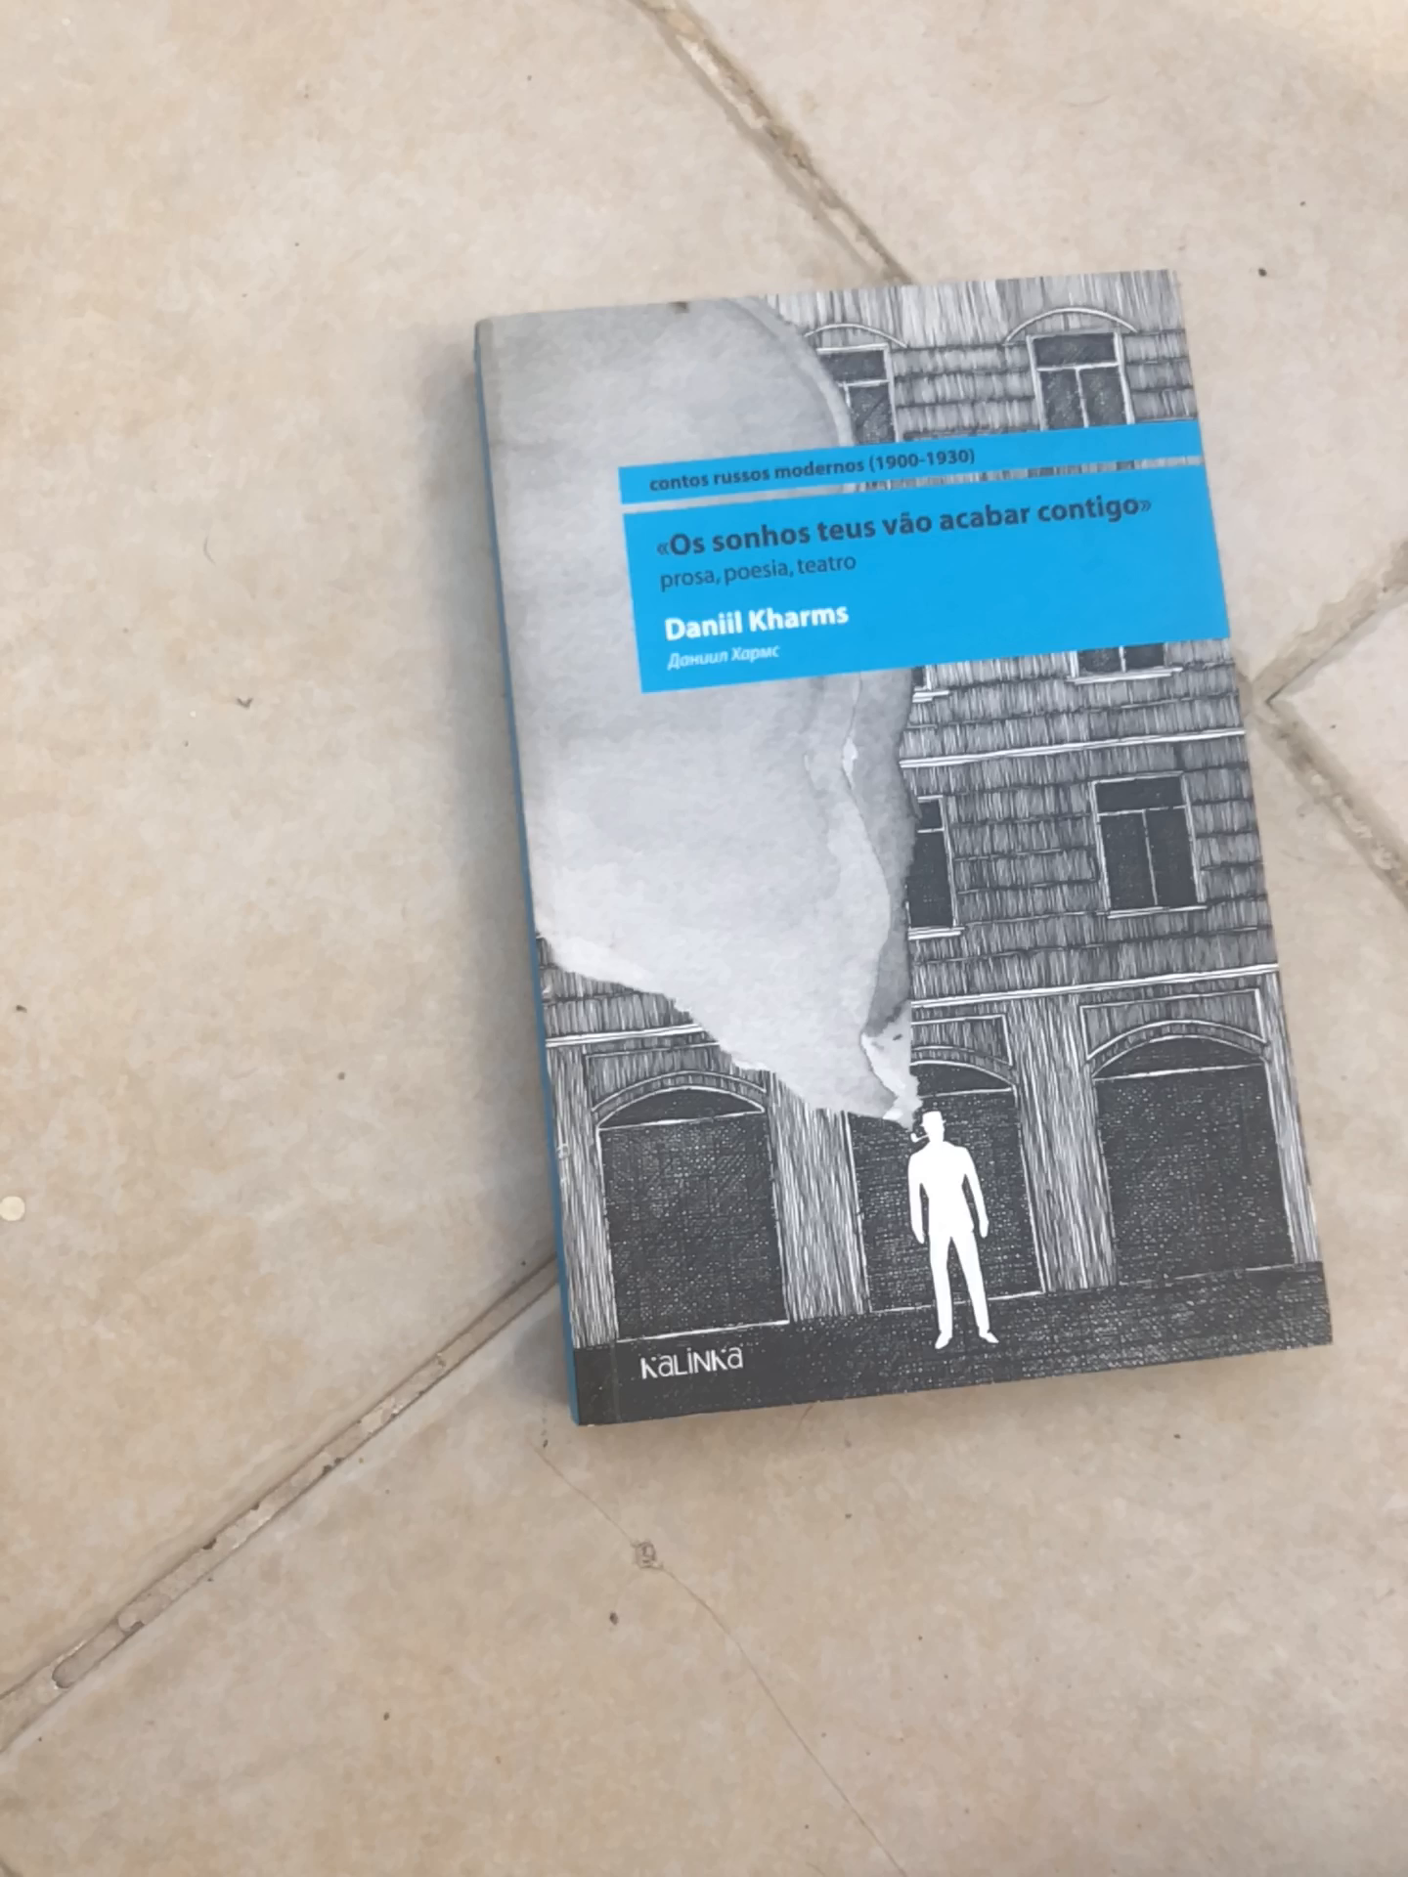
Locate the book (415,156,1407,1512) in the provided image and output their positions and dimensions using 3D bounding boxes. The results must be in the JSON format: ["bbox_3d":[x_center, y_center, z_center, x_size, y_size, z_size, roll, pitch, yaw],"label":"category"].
[{"bbox_3d":[0.028,-0.017,0.224,0.120,0.040,0.170,-5,83,-4],"label":"book"}]
